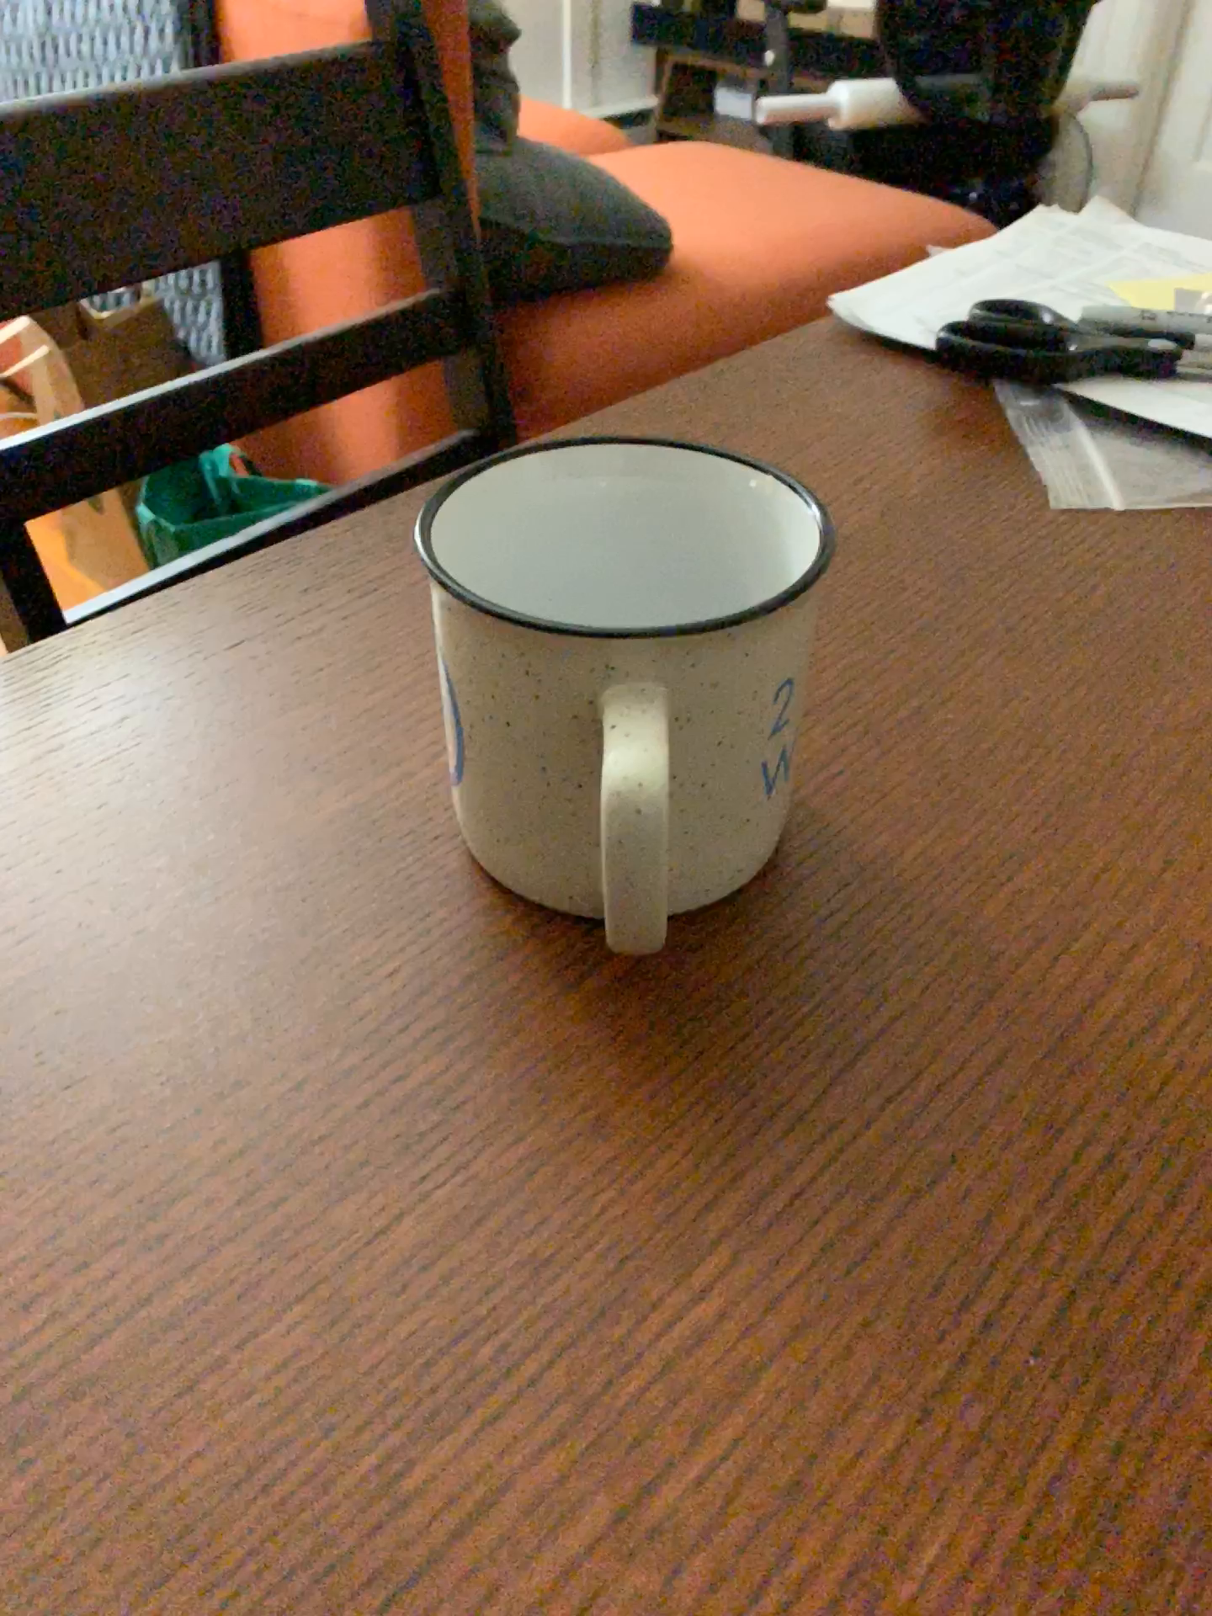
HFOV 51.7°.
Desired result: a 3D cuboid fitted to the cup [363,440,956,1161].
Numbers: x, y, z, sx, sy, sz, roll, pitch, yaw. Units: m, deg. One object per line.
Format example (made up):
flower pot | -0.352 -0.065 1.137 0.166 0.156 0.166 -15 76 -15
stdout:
cup | 0.008 -0.009 0.301 0.100 0.099 0.151 0 40 -1
